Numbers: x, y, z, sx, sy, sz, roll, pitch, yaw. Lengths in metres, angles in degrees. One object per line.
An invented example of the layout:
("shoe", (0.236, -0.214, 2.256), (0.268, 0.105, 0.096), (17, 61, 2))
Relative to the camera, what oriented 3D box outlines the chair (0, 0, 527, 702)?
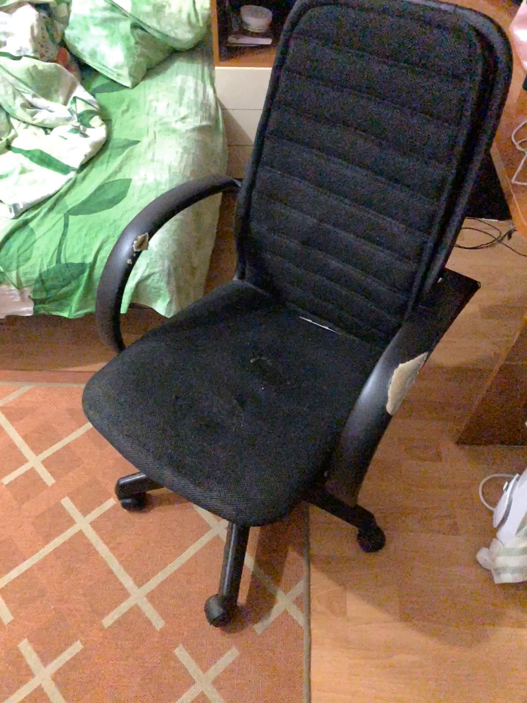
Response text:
("chair", (0.004, 0.009, 0.992), (0.672, 0.992, 0.724), (29, 56, 20))
